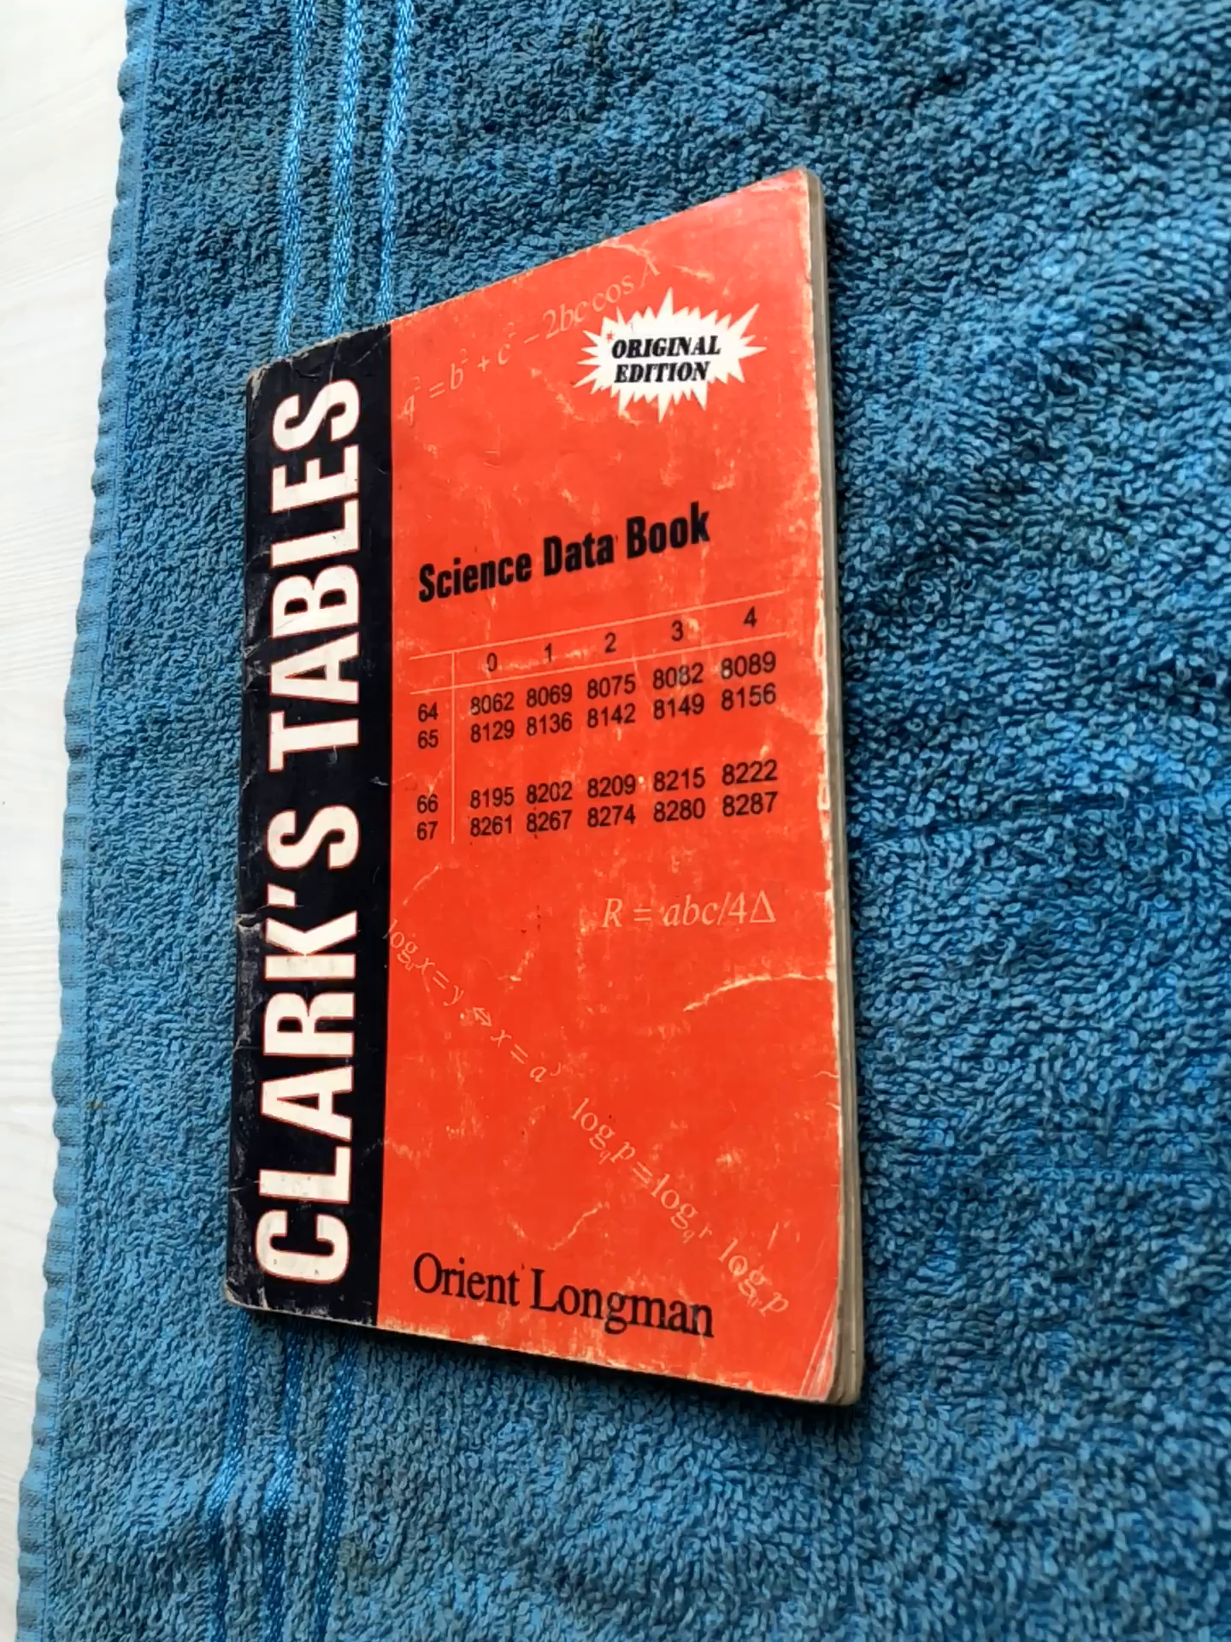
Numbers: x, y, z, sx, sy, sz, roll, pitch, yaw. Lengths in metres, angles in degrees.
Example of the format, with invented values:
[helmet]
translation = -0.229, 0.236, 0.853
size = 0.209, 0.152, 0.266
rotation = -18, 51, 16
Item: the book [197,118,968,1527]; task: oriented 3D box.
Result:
[book]
translation = -0.012, 0.001, 0.219
size = 0.120, 0.030, 0.180
rotation = -5, 82, 32
